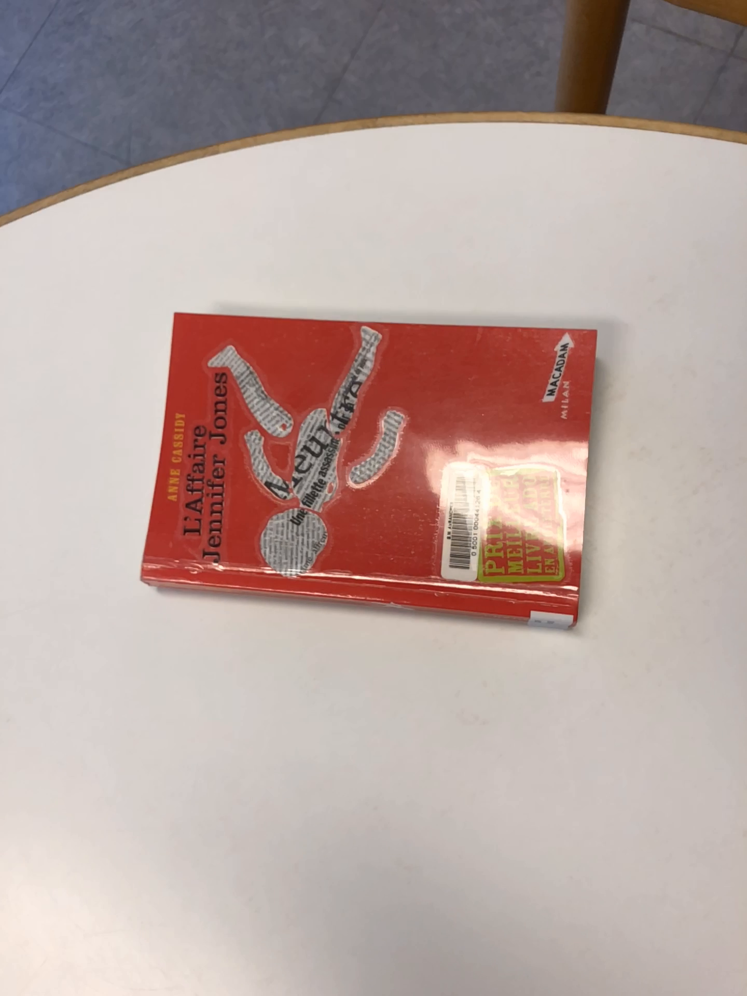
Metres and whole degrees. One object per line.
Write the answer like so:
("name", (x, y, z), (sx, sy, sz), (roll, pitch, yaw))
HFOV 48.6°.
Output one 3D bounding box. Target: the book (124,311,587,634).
("book", (-0.008, -0.015, 0.392), (0.202, 0.027, 0.136), (4, 83, 8))
